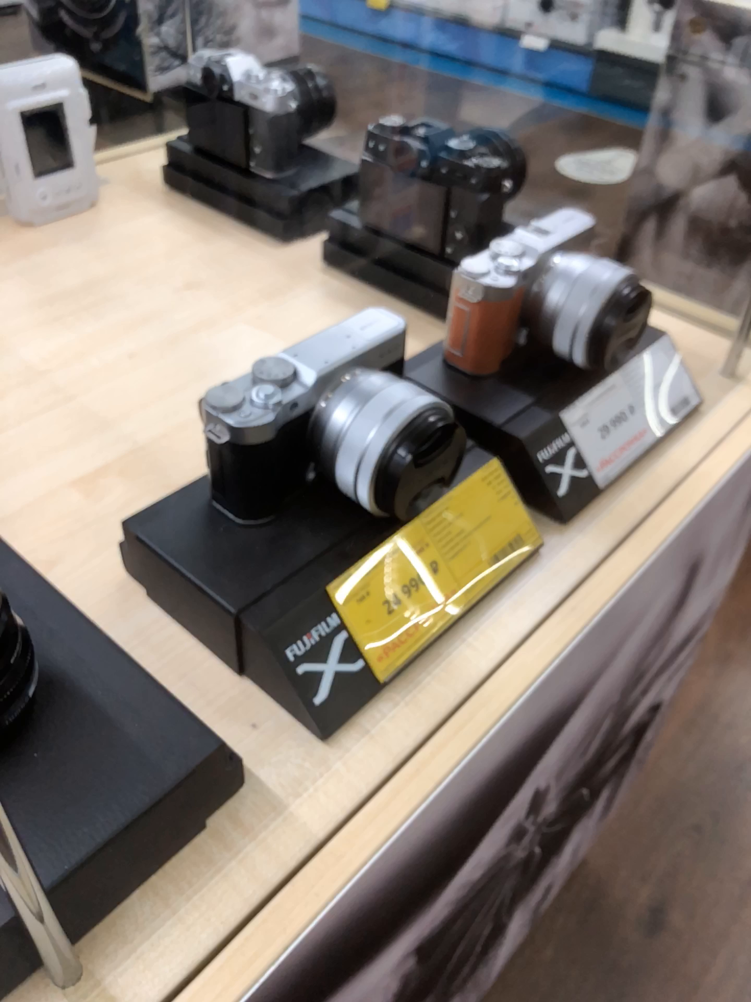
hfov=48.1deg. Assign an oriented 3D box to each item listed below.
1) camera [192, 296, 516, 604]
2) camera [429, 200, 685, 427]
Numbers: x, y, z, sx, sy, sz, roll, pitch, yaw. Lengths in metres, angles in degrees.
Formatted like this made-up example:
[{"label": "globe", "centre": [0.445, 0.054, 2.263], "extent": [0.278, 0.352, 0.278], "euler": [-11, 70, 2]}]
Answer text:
[{"label": "camera", "centre": [-0.009, -0.030, 0.403], "extent": [0.088, 0.072, 0.120], "euler": [33, 49, 29]}, {"label": "camera", "centre": [0.111, -0.120, 0.519], "extent": [0.088, 0.072, 0.128], "euler": [33, 49, 29]}]
